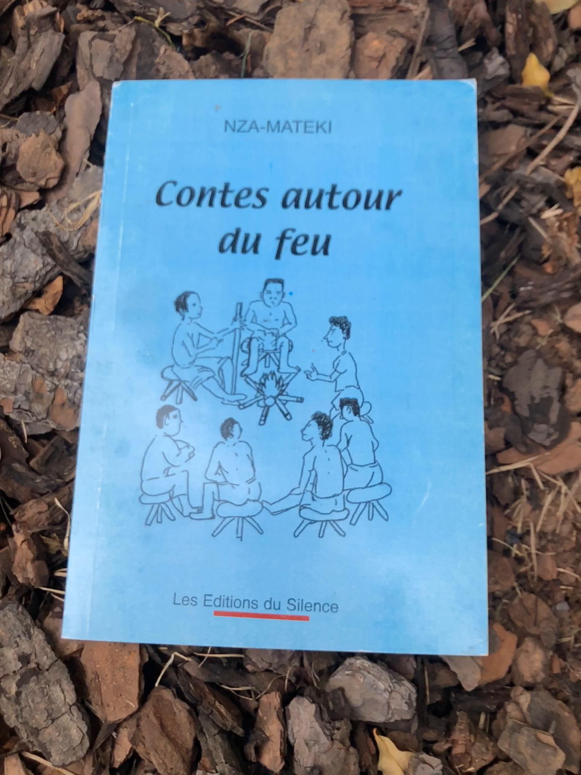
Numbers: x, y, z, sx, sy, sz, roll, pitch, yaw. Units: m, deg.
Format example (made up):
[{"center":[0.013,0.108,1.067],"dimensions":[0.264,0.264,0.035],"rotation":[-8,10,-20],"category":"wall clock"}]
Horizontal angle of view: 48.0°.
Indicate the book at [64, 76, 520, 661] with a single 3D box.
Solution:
[{"center":[0.003,-0.016,0.231],"dimensions":[0.144,0.015,0.202],"rotation":[2,79,4],"category":"book"}]
